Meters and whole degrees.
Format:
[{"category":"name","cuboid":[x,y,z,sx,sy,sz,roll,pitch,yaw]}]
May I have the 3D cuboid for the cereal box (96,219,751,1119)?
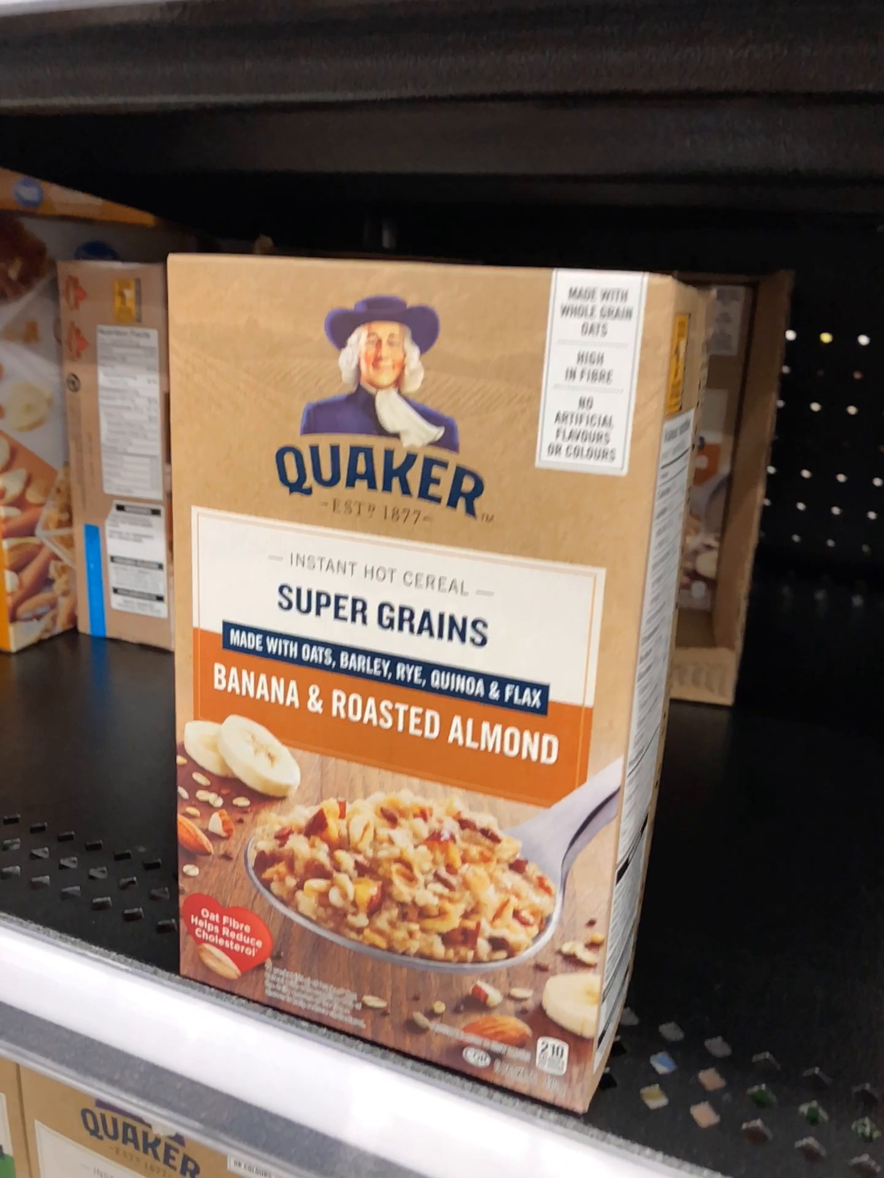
[{"category":"cereal box","cuboid":[-0.005,0.011,0.248,0.130,0.189,0.070,9,18,20]}]
